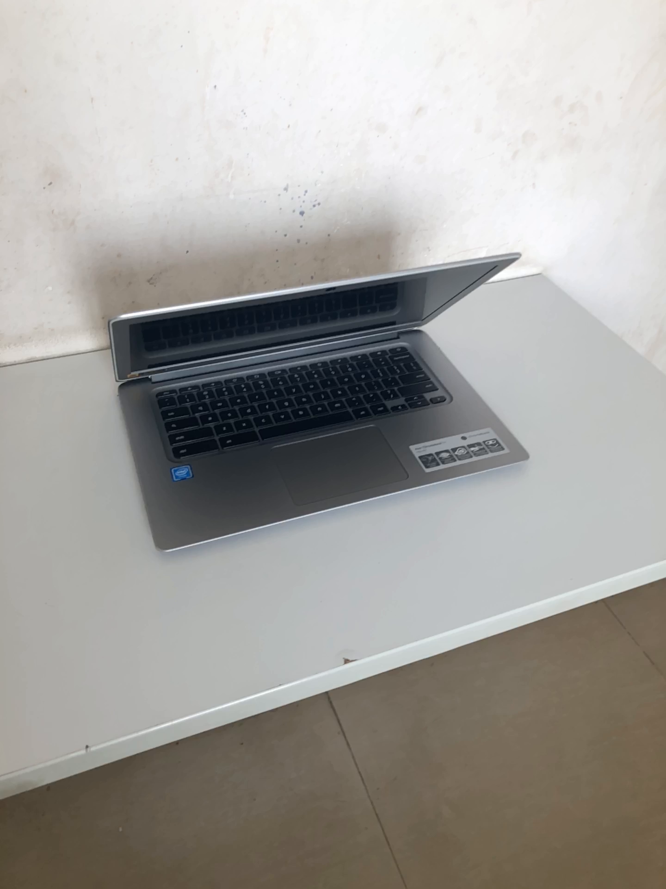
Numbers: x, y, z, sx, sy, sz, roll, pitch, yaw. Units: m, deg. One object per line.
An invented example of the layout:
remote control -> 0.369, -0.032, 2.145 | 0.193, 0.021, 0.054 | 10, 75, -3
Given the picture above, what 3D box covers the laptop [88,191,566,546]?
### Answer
laptop -> -0.017, -0.084, 0.633 | 0.326, 0.155, 0.222 | -13, 42, -16
